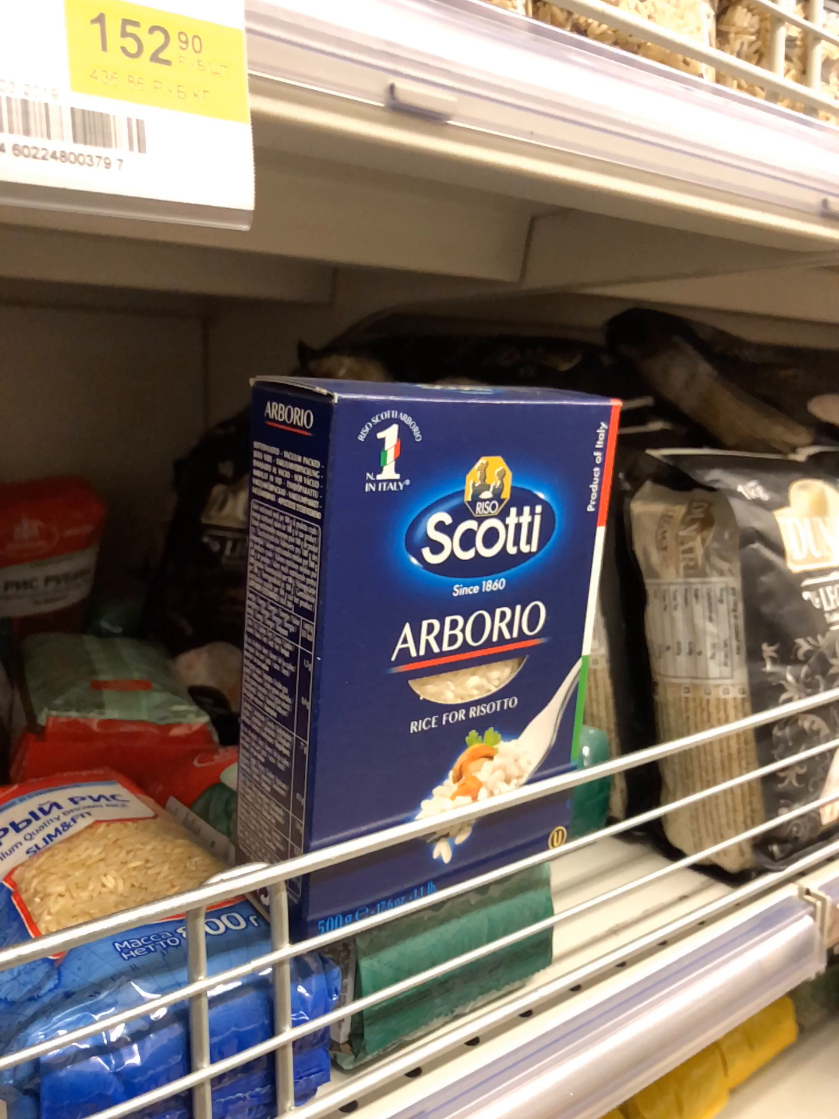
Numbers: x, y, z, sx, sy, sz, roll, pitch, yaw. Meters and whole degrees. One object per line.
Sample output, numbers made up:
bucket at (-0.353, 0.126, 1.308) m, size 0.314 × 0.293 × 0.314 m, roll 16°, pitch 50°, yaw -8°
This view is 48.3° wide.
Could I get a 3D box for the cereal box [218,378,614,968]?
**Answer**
cereal box at (-0.001, 0.026, 0.299) m, size 0.110 × 0.160 × 0.050 m, roll -6°, pitch 15°, yaw -39°
